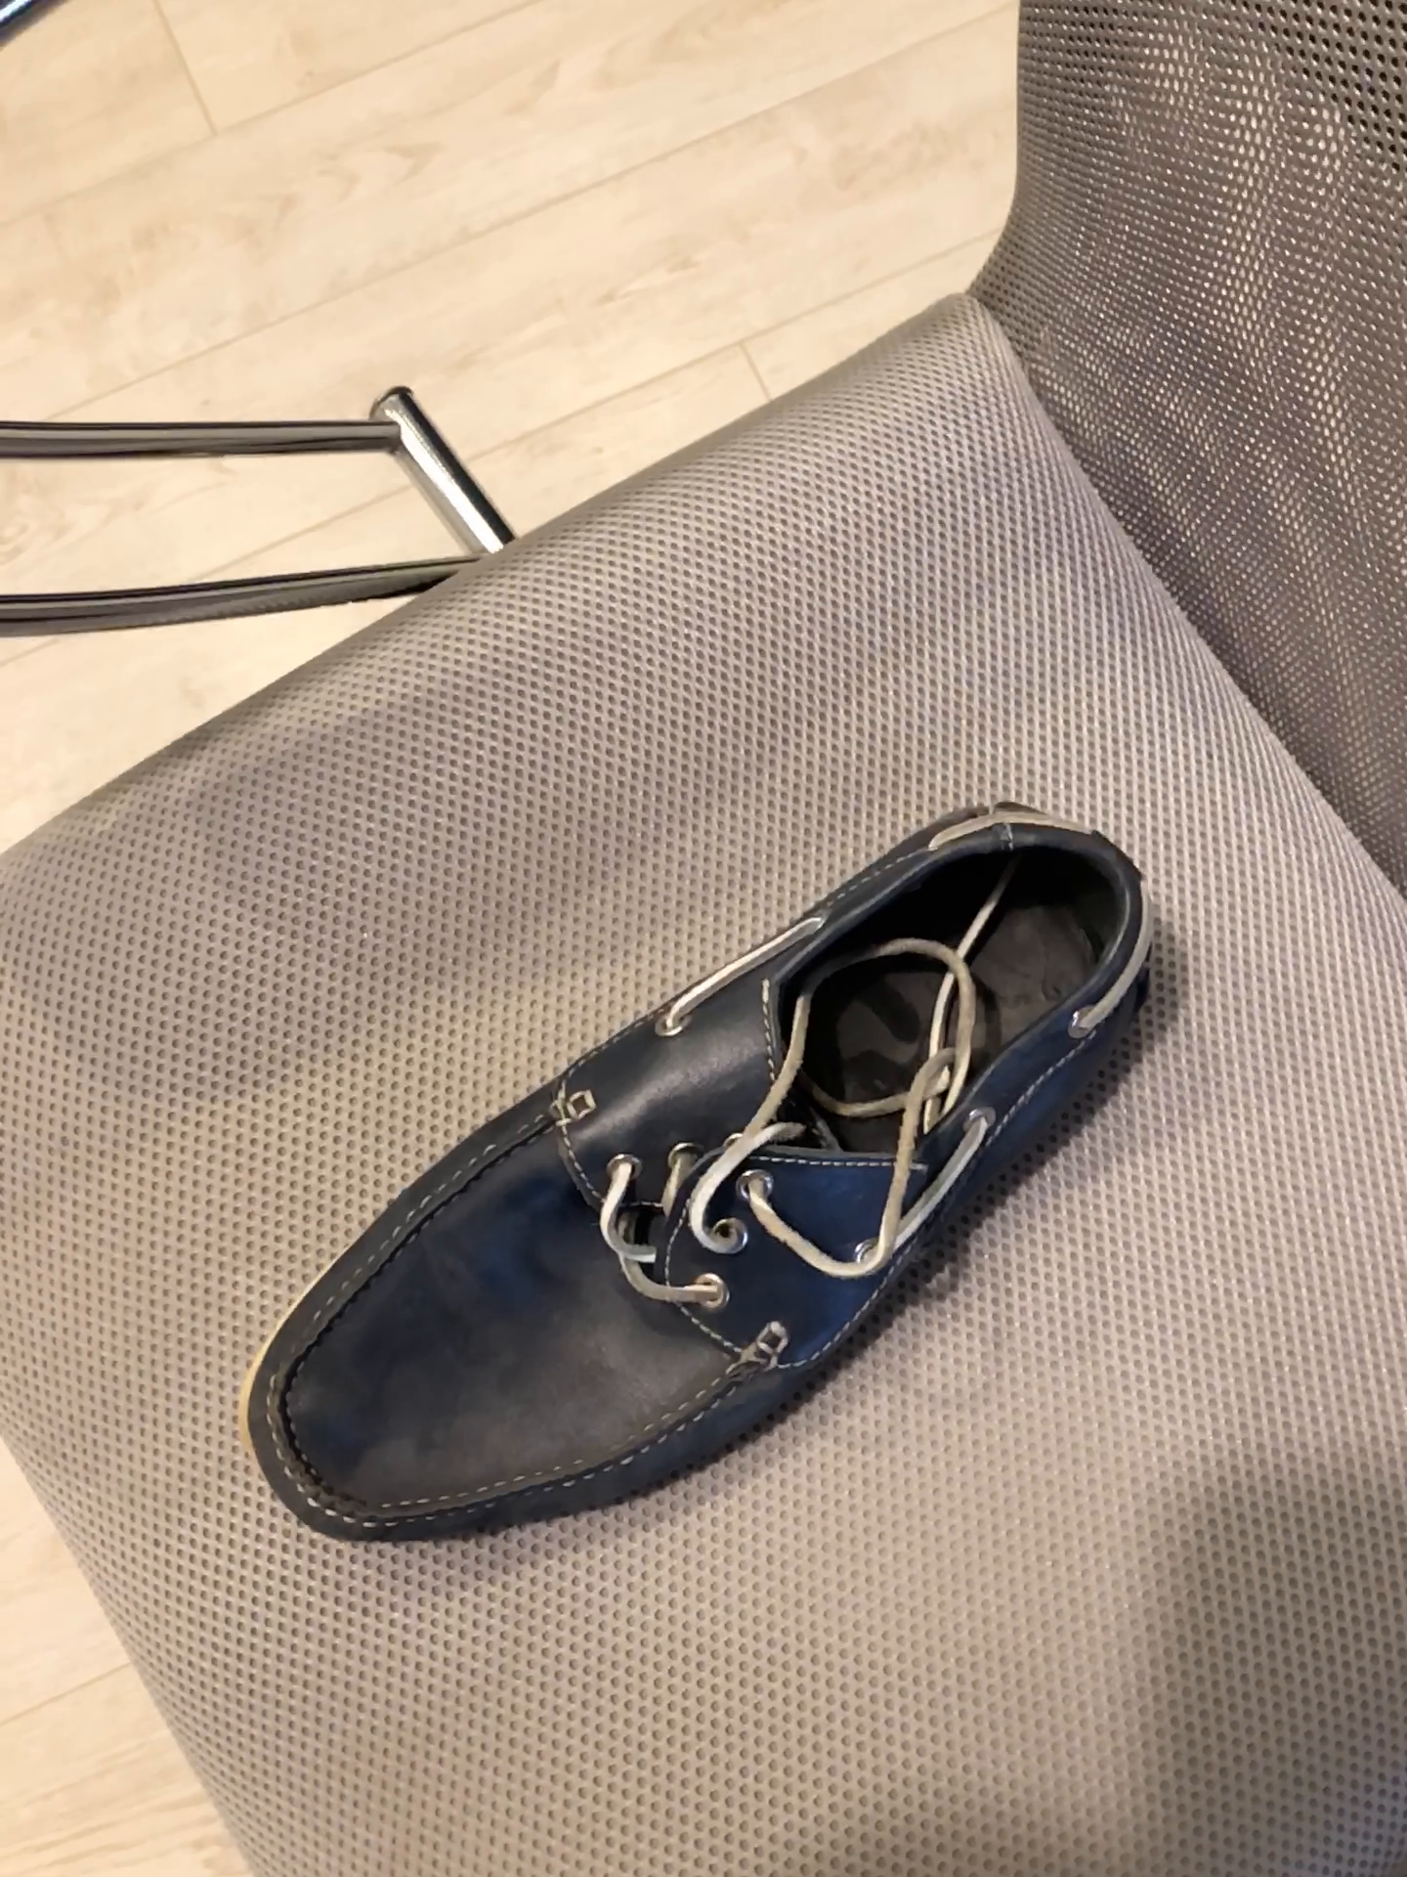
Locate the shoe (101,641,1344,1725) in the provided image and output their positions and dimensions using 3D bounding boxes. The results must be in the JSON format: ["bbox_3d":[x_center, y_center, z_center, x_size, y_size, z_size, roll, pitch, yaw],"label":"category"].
[{"bbox_3d":[0.007,0.062,0.431,0.290,0.100,0.120,-34,79,-5],"label":"shoe"}]
